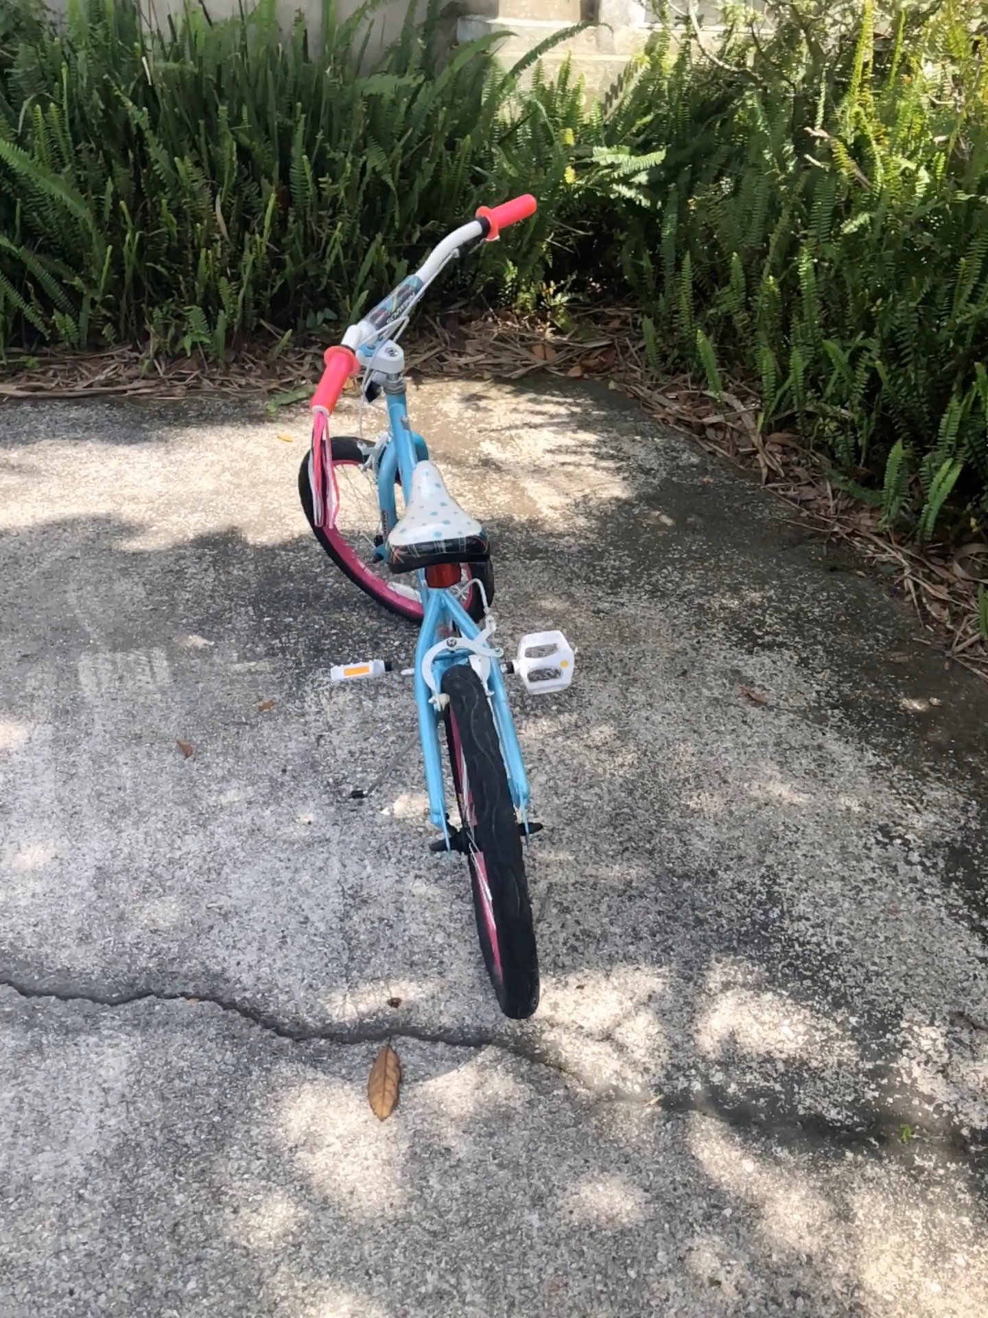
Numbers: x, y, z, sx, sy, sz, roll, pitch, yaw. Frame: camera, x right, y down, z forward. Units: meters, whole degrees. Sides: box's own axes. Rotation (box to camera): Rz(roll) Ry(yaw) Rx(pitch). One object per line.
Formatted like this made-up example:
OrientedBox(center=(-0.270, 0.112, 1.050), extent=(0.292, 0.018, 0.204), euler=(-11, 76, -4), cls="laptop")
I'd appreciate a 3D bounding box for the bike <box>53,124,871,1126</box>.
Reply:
OrientedBox(center=(-0.233, -0.190, 1.697), extent=(0.699, 0.923, 1.316), euler=(-7, 36, -17), cls="bike")
